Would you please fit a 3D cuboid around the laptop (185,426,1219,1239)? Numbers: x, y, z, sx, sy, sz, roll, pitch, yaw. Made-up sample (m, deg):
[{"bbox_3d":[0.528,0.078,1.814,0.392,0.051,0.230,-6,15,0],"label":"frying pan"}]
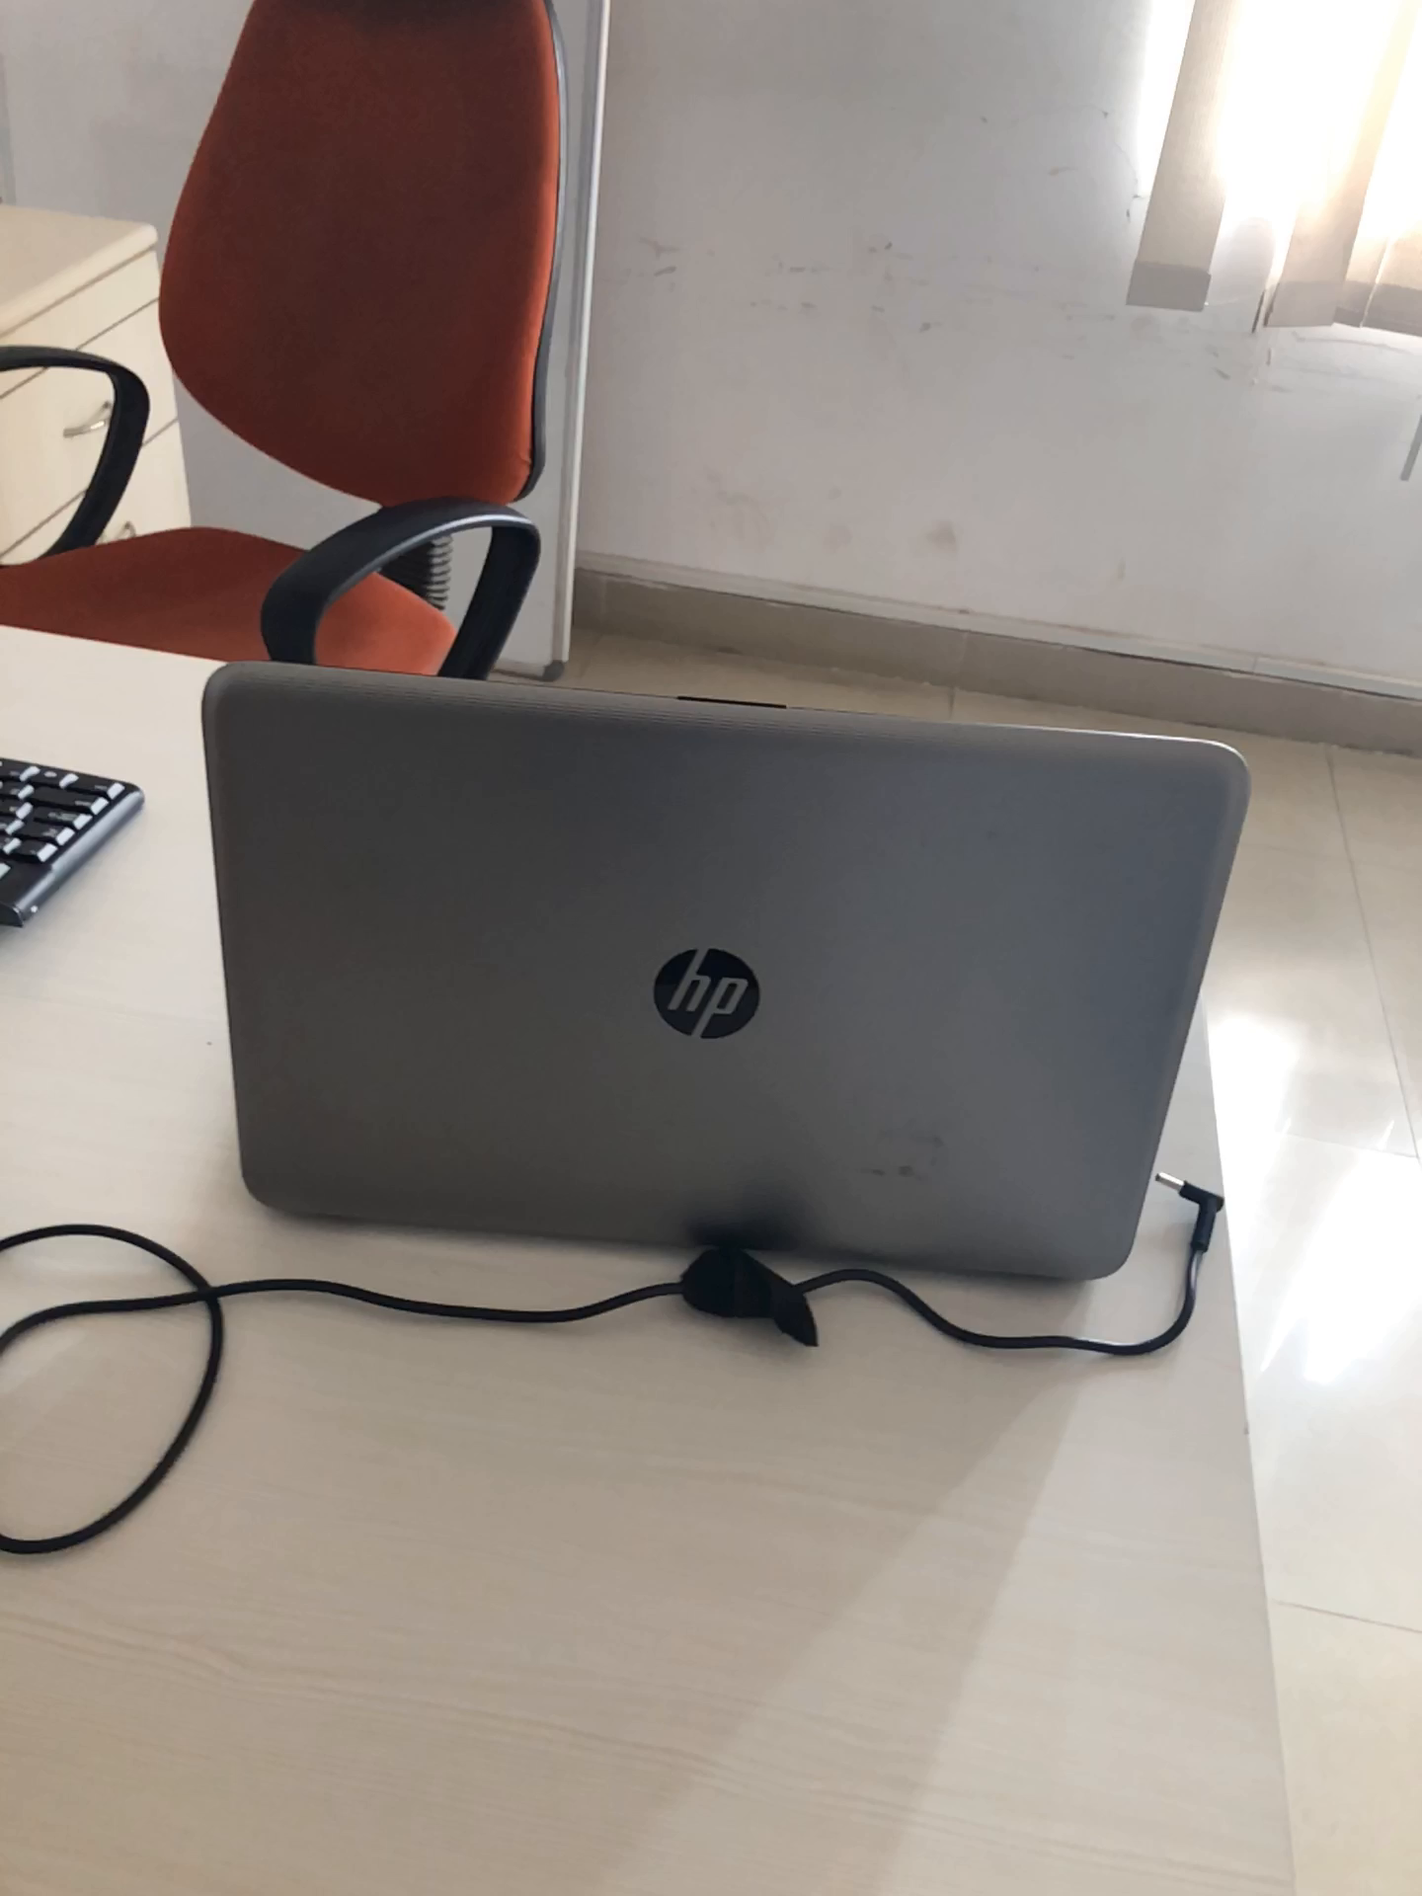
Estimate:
[{"bbox_3d":[-0.006,-0.053,0.678,0.350,0.226,0.217,5,42,1],"label":"laptop"}]
